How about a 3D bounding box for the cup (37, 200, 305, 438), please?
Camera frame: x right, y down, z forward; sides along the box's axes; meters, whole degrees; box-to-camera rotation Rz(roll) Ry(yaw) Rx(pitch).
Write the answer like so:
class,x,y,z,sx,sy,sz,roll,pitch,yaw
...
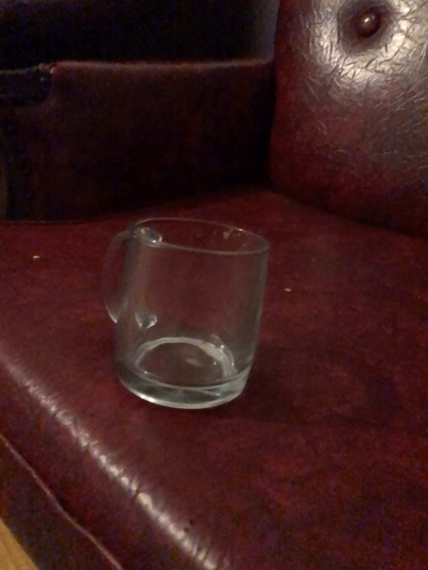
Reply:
class,x,y,z,sx,sy,sz,roll,pitch,yaw
cup,-0.030,0.007,0.290,0.128,0.090,0.090,21,22,34
